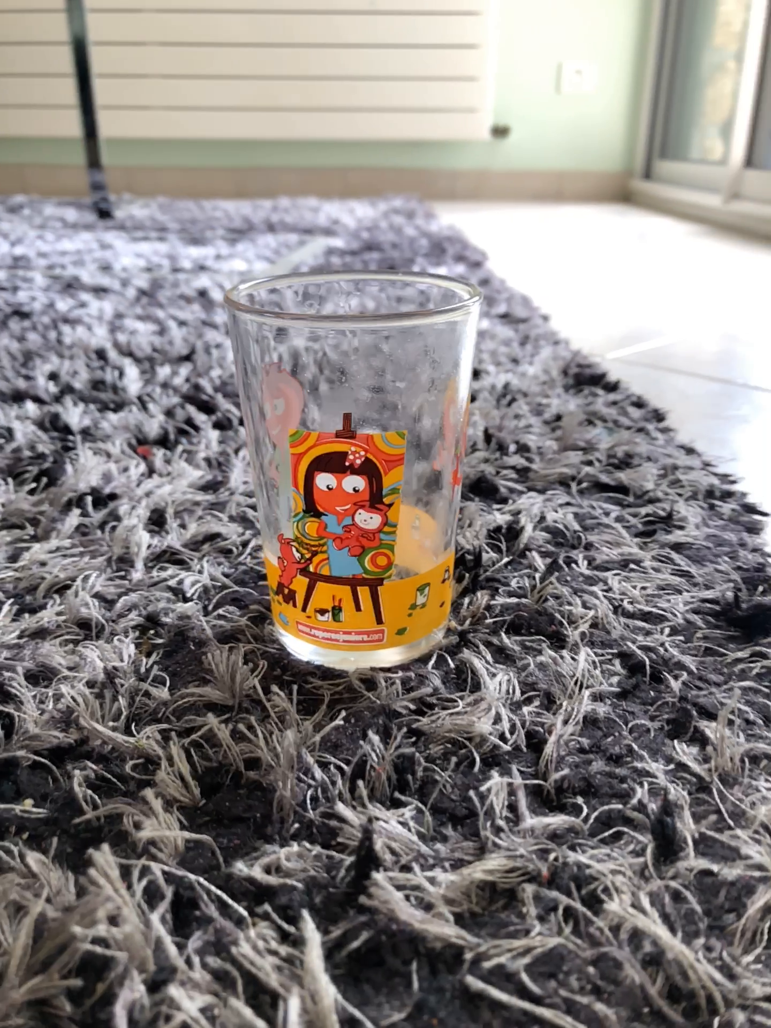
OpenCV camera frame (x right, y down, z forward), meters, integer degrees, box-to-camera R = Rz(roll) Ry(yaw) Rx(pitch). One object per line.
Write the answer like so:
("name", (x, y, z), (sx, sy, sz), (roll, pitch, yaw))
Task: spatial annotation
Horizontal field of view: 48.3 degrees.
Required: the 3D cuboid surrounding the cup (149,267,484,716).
("cup", (-0.012, -0.011, 0.235), (0.070, 0.099, 0.070), (0, 23, 0))
